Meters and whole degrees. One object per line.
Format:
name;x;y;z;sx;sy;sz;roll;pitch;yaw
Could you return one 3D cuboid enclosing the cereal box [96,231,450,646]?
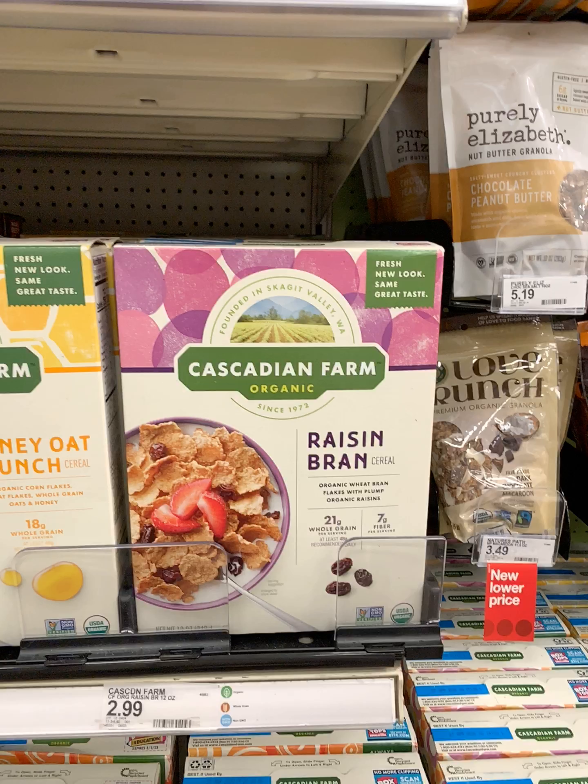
cereal box;-0.014;0.034;0.403;0.200;0.269;0.050;0;16;-5
